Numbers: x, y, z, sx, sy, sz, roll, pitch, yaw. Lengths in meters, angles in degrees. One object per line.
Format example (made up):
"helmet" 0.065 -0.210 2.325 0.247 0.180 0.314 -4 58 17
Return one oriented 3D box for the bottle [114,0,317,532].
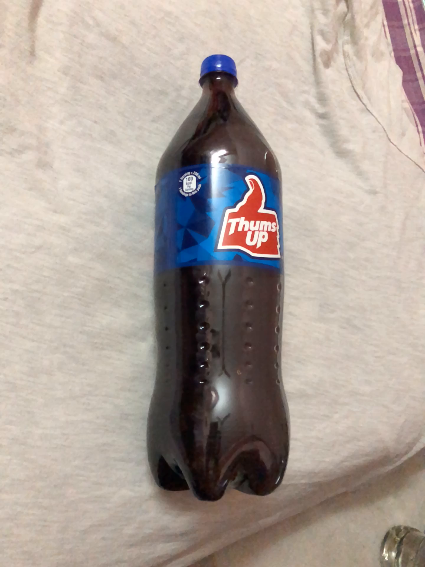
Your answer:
"bottle" 0.001 -0.023 0.296 0.100 0.060 0.300 5 79 -27
